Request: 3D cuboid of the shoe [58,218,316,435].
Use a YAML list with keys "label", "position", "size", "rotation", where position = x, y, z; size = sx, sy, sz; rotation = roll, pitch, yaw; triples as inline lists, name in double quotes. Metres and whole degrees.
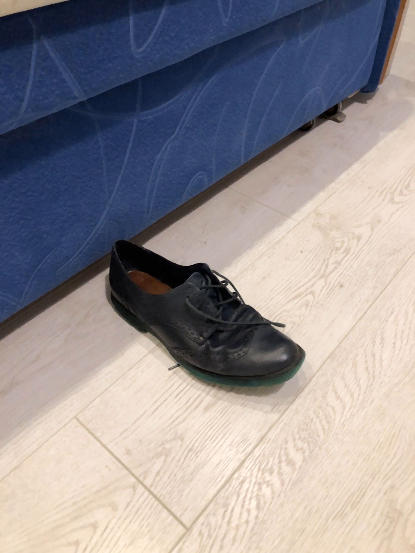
- label: "shoe"
  position: [-0.027, 0.042, 0.487]
  size: [0.250, 0.089, 0.096]
  rotation: [27, 51, 24]
